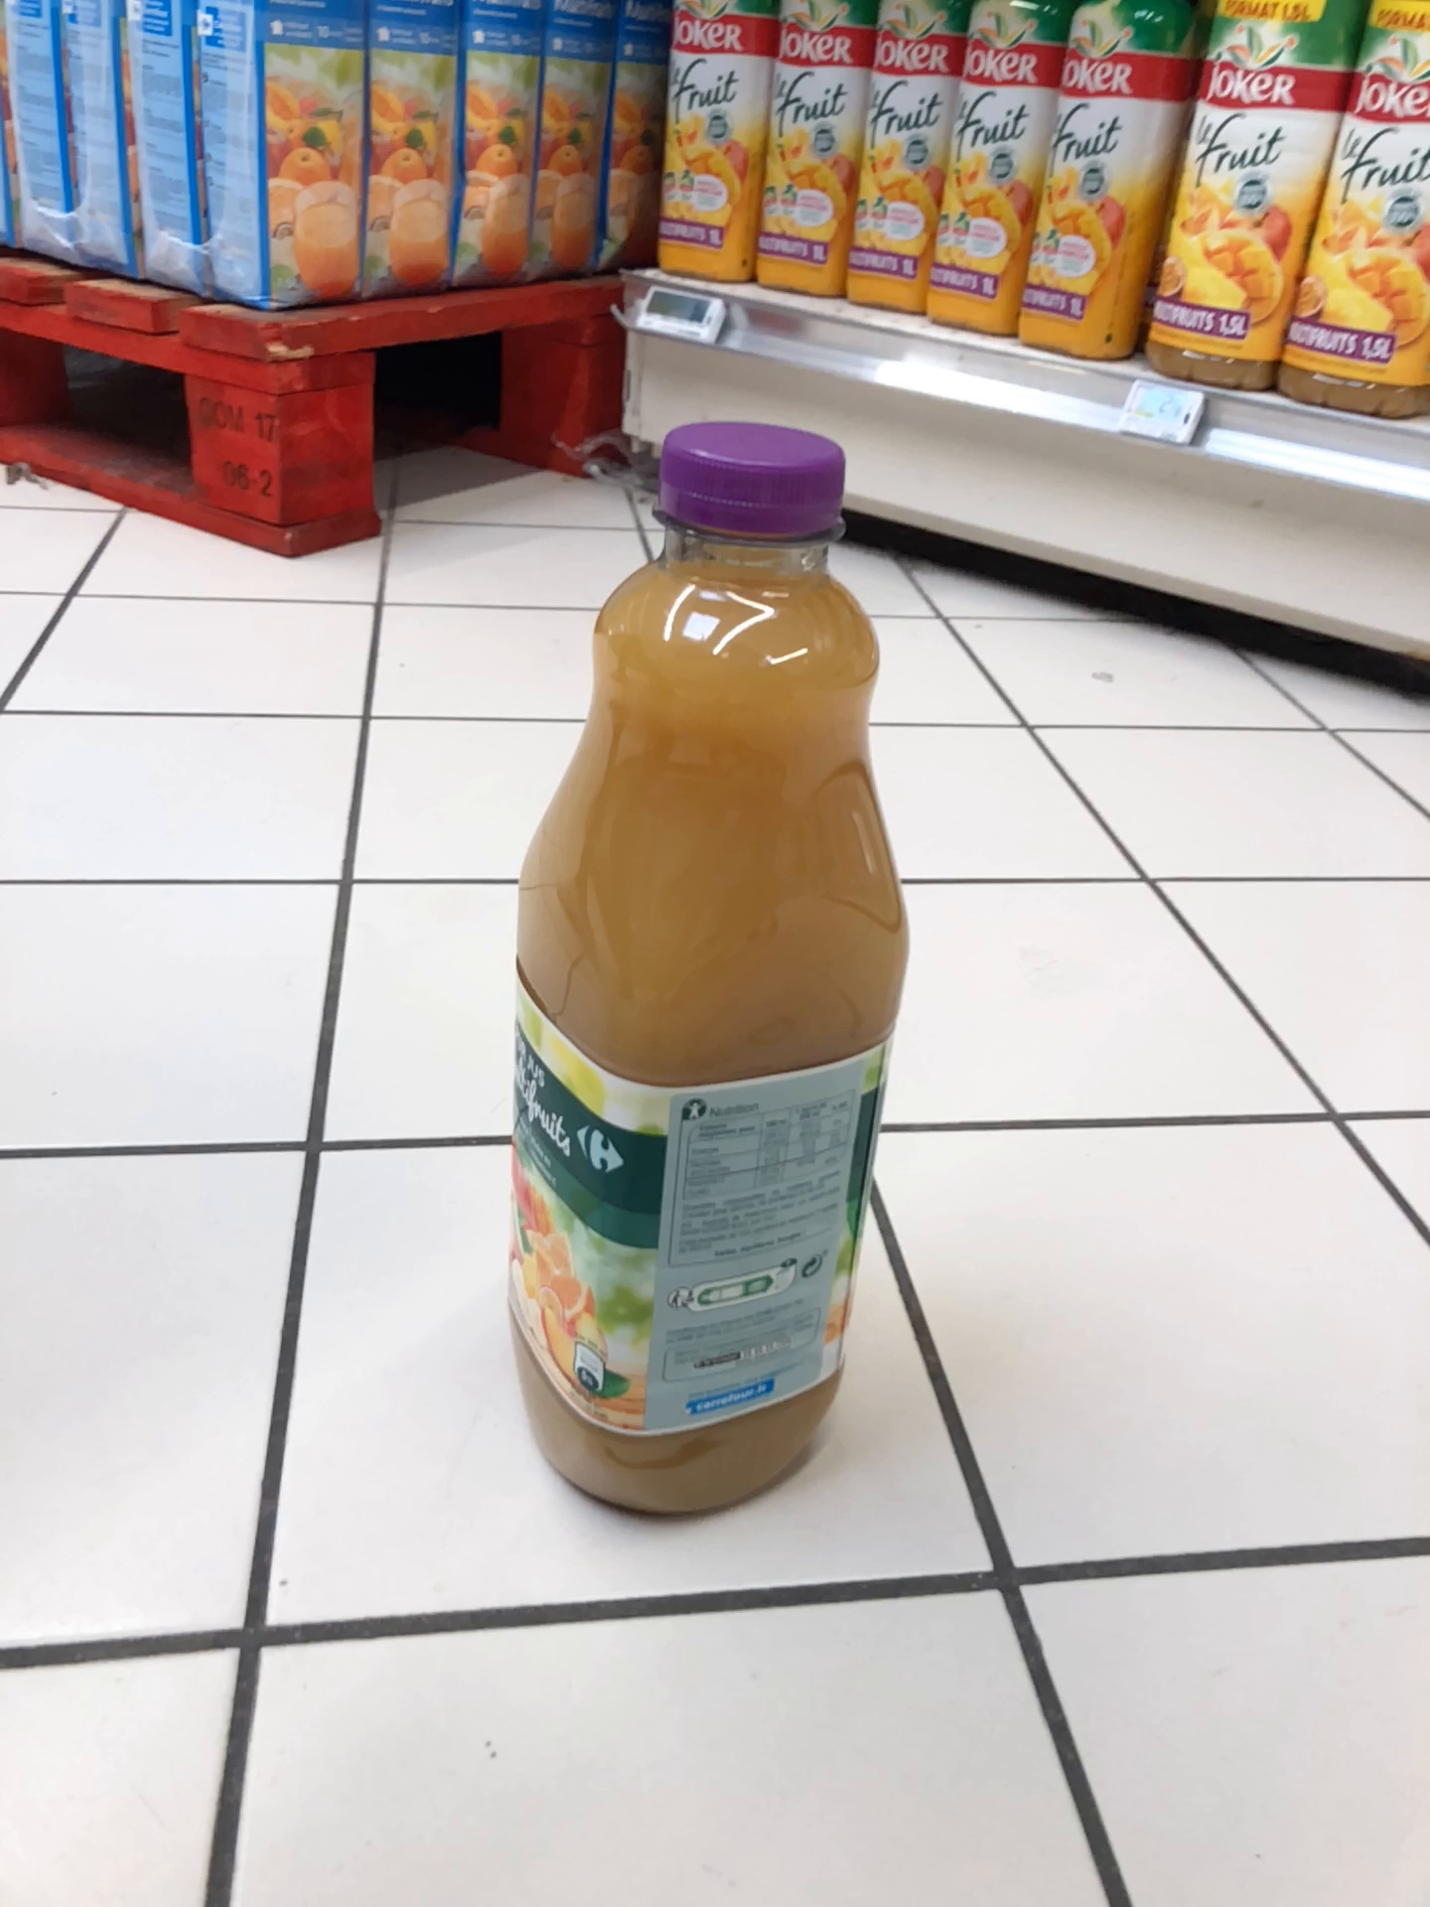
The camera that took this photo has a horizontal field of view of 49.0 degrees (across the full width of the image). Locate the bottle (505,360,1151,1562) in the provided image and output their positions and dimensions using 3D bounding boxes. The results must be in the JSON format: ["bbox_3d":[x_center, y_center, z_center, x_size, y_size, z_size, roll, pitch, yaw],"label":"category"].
[{"bbox_3d":[0.011,0.005,0.399,0.100,0.278,0.100,3,29,-2],"label":"bottle"}]
